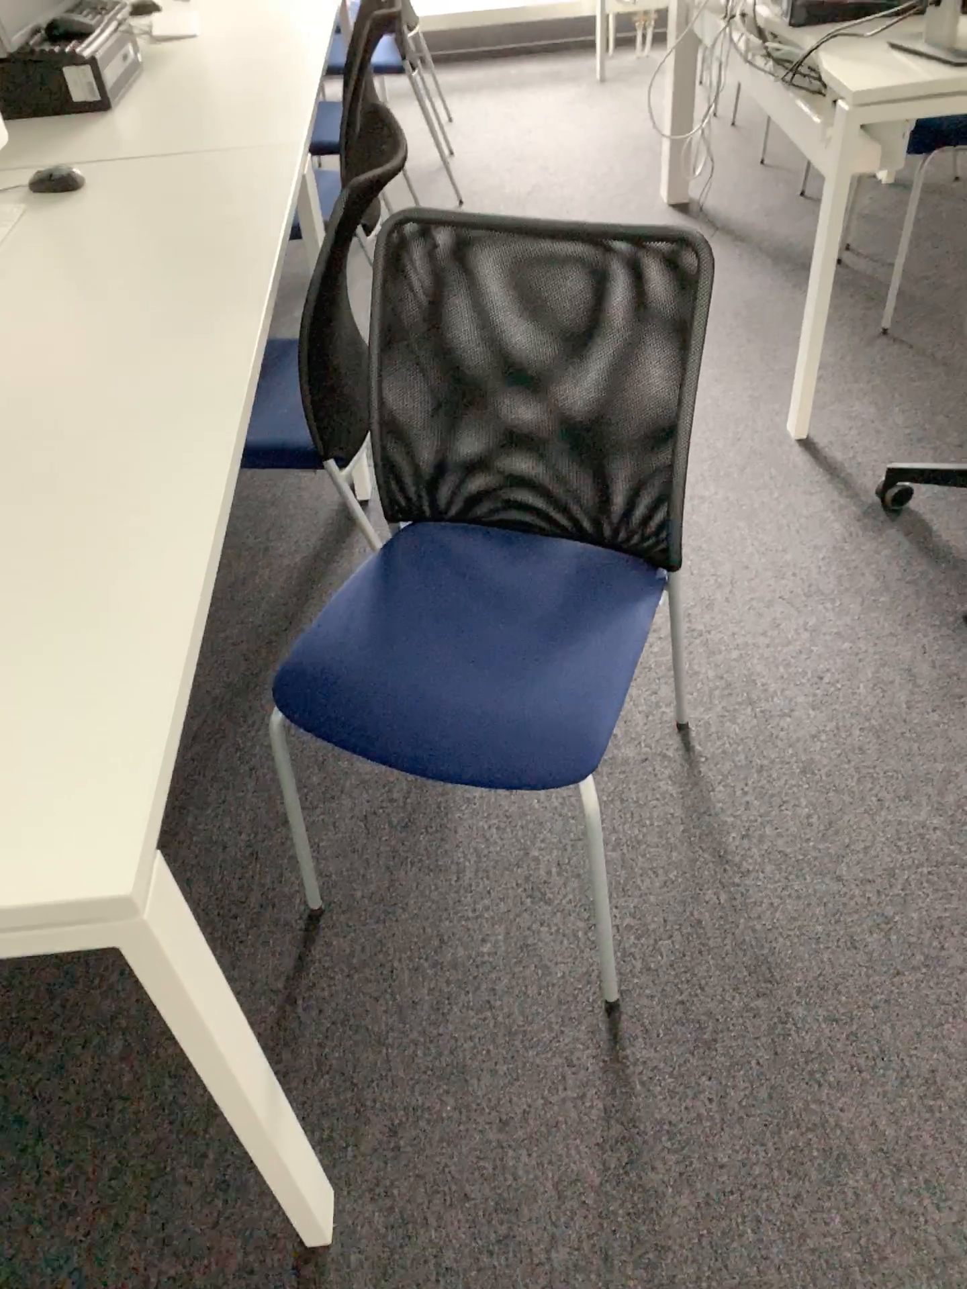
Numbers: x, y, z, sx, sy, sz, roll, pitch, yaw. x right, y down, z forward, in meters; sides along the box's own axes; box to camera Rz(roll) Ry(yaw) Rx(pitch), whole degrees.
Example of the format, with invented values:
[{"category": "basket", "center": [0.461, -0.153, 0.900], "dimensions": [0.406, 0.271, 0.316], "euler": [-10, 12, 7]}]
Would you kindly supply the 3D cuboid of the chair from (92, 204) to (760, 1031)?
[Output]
[{"category": "chair", "center": [0.009, -0.028, 1.378], "dimensions": [0.540, 0.895, 0.603], "euler": [12, 45, 17]}]
